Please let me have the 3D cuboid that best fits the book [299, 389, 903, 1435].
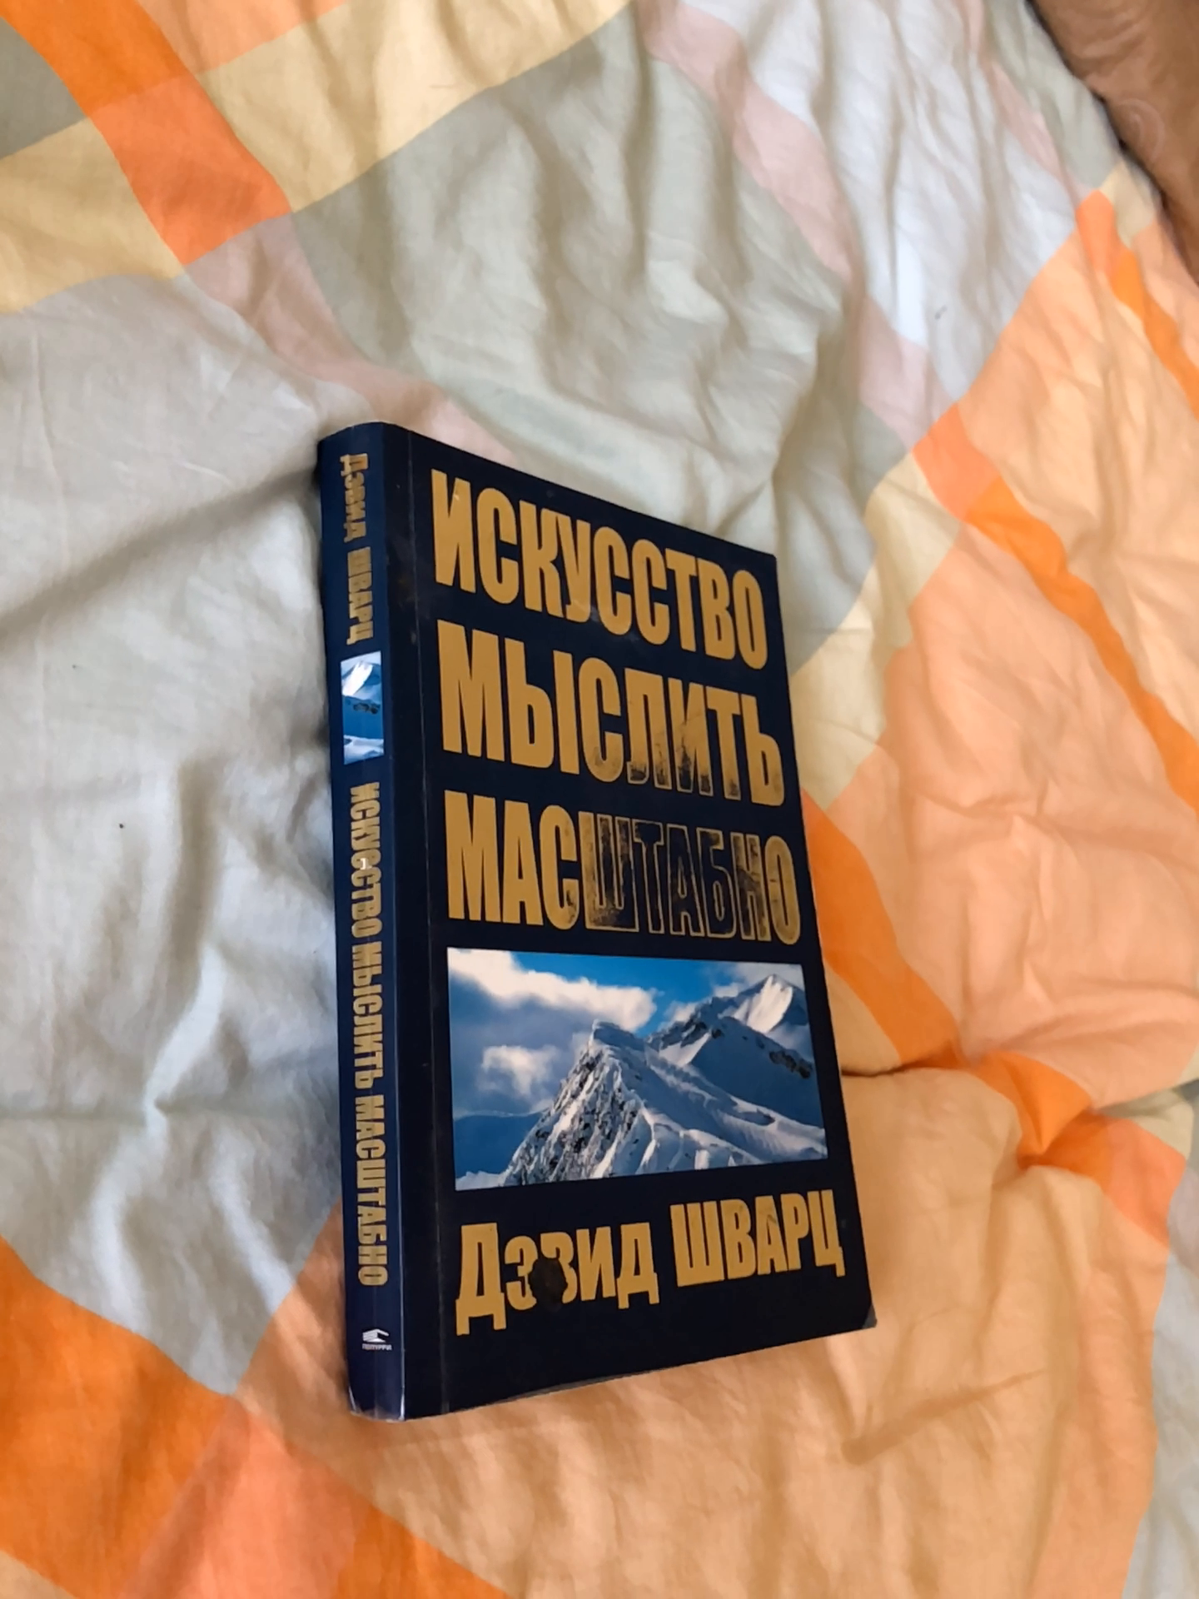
[{"bbox_3d":[0.001,0.021,0.285,0.127,0.028,0.189,9,68,-39],"label":"book"}]
